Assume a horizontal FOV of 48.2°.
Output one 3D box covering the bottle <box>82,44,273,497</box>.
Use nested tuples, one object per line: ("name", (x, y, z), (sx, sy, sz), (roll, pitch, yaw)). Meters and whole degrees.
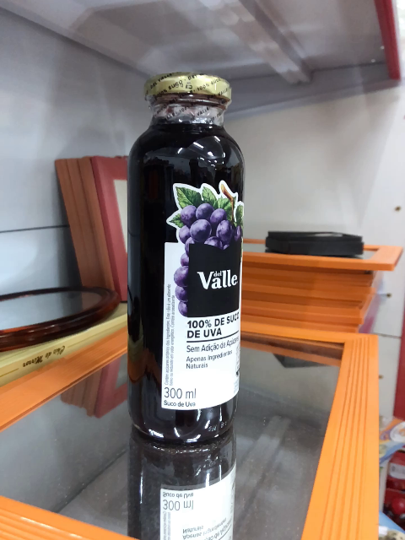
("bottle", (-0.016, 0.000, 0.232), (0.070, 0.189, 0.060), (-5, 11, -40))
